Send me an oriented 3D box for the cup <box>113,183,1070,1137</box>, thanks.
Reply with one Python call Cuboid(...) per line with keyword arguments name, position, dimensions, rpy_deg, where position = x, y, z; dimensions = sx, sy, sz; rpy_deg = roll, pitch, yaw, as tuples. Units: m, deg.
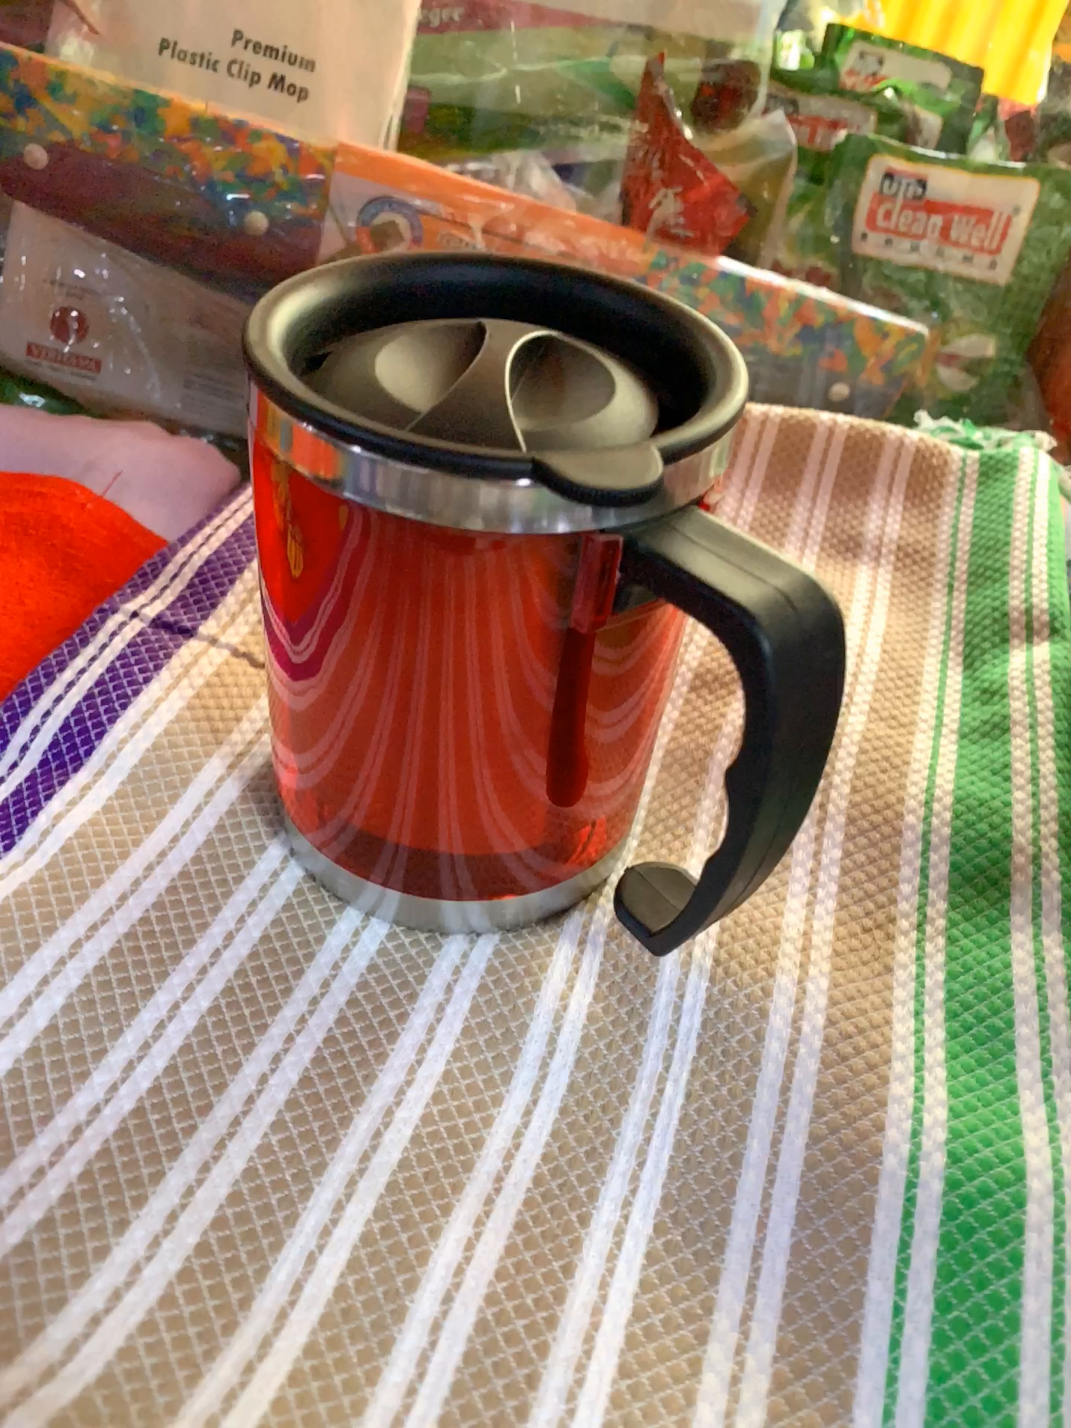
Cuboid(name="cup", position=(0.004, -0.023, 0.212), dimensions=(0.100, 0.102, 0.130), rpy_deg=(-27, 51, -36))
